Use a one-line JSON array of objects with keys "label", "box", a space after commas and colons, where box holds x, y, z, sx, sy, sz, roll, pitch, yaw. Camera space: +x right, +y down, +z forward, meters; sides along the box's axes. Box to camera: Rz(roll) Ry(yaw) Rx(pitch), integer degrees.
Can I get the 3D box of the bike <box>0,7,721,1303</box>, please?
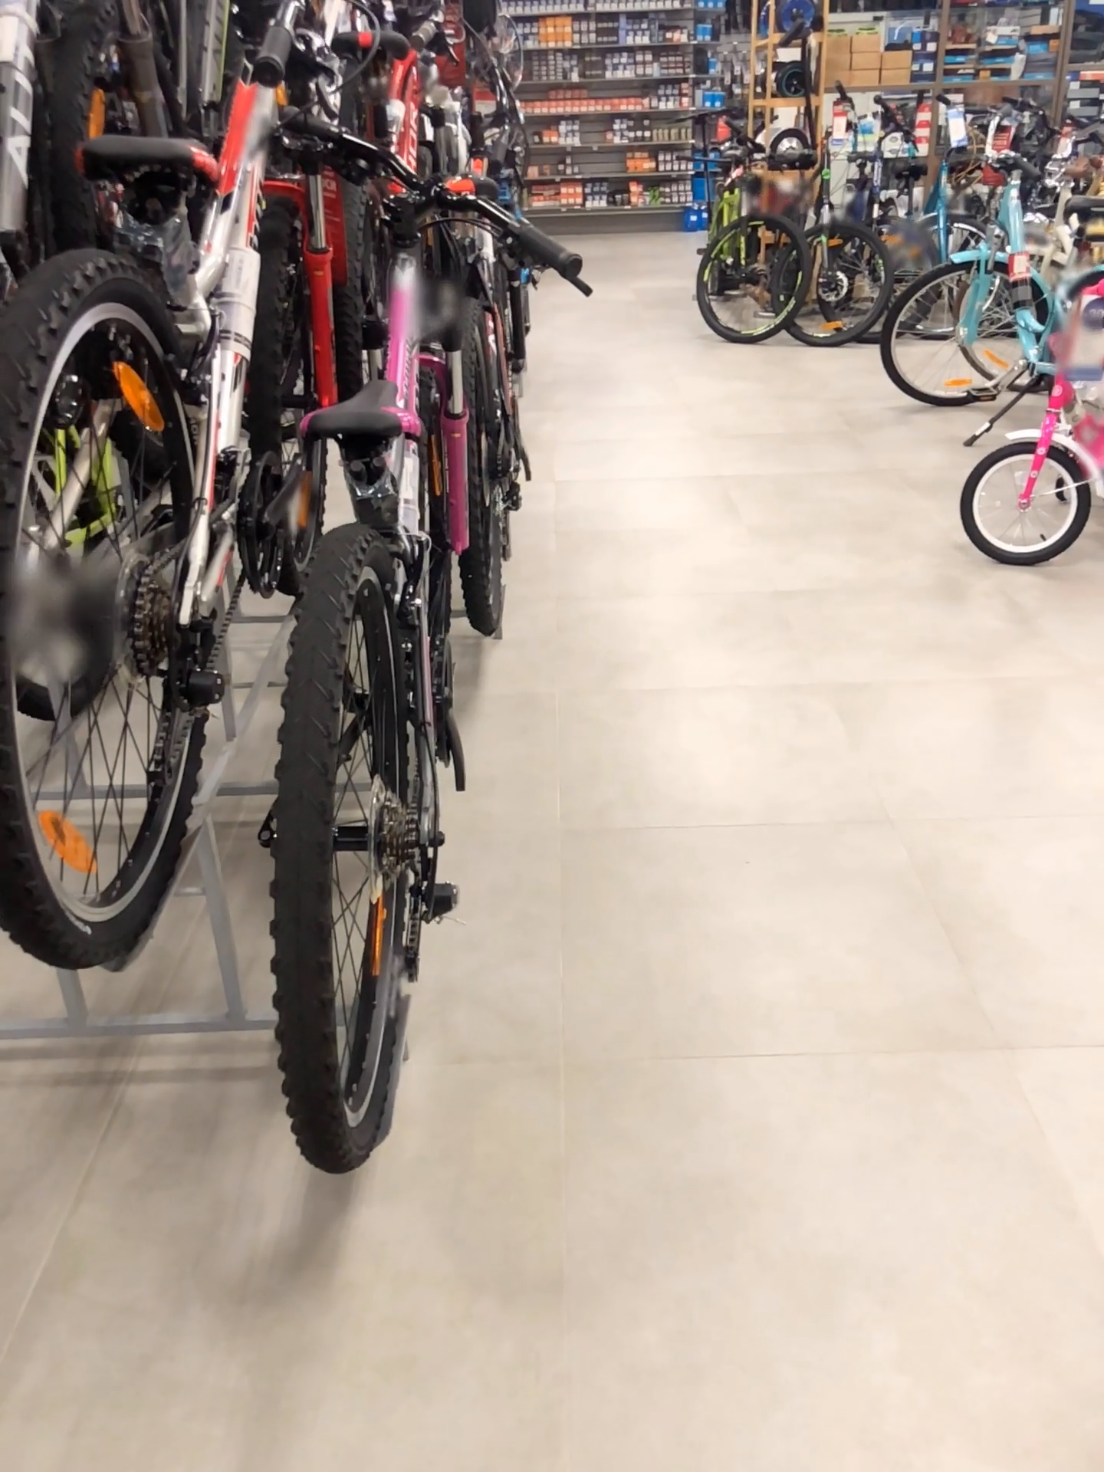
[{"label": "bike", "box": [-0.214, -0.361, 1.575, 0.598, 0.990, 1.615, -2, 30, 0]}]
